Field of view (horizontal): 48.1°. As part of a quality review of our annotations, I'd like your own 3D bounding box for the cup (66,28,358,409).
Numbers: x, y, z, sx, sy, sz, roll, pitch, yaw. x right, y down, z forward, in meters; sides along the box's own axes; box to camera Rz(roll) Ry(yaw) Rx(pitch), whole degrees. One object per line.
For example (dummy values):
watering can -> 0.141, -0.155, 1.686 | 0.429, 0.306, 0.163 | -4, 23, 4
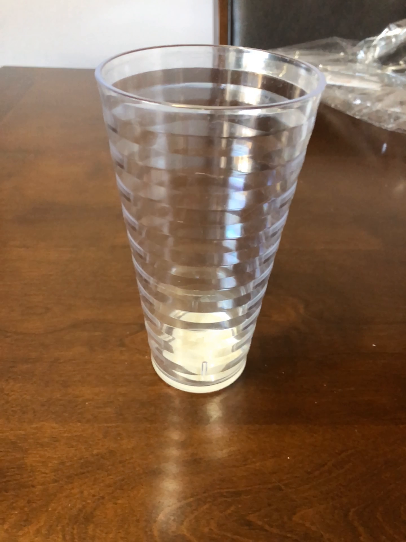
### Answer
cup -> -0.001, -0.022, 0.250 | 0.100, 0.179, 0.100 | 1, 38, -1
